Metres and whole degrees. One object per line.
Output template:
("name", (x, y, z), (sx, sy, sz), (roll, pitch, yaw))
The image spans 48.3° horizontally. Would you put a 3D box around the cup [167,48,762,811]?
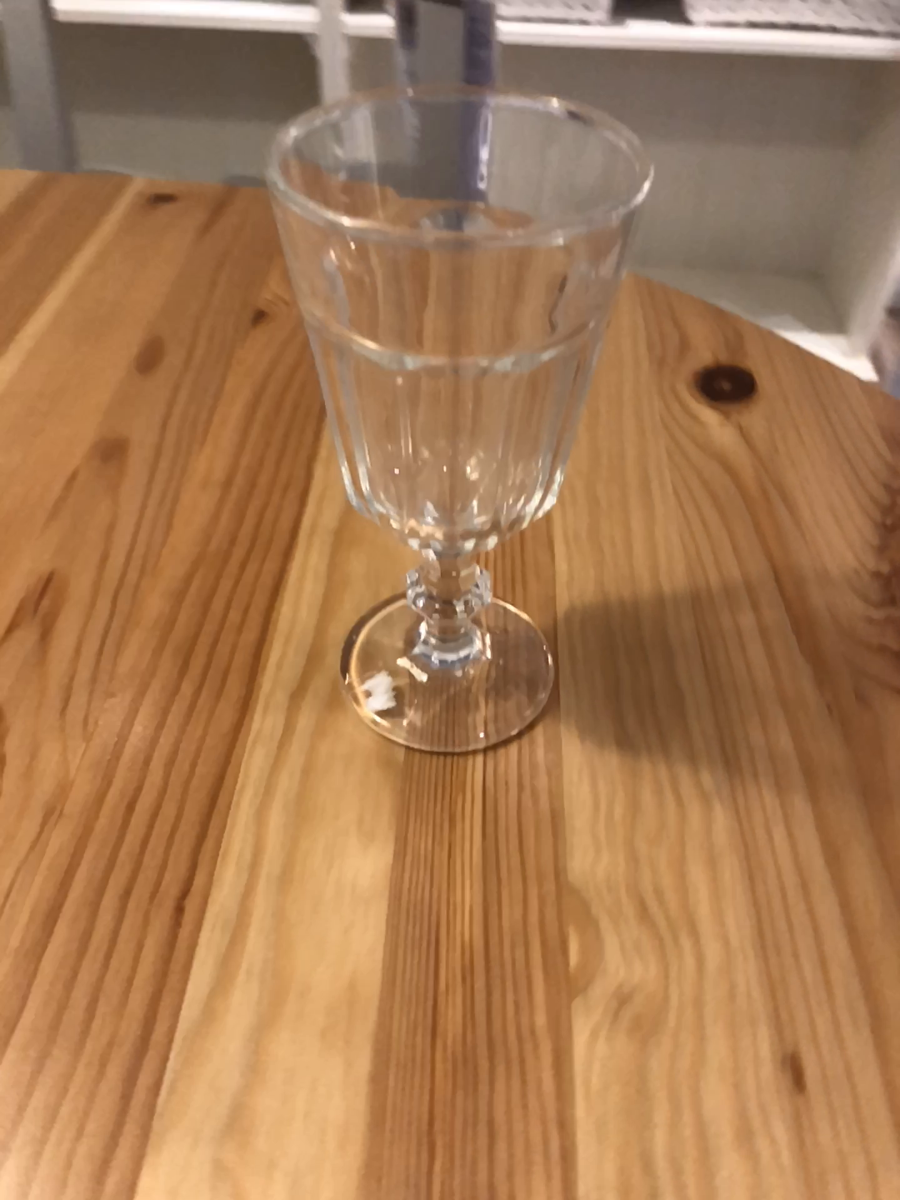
("cup", (0.002, -0.038, 0.239), (0.080, 0.139, 0.080), (1, 44, -1))
